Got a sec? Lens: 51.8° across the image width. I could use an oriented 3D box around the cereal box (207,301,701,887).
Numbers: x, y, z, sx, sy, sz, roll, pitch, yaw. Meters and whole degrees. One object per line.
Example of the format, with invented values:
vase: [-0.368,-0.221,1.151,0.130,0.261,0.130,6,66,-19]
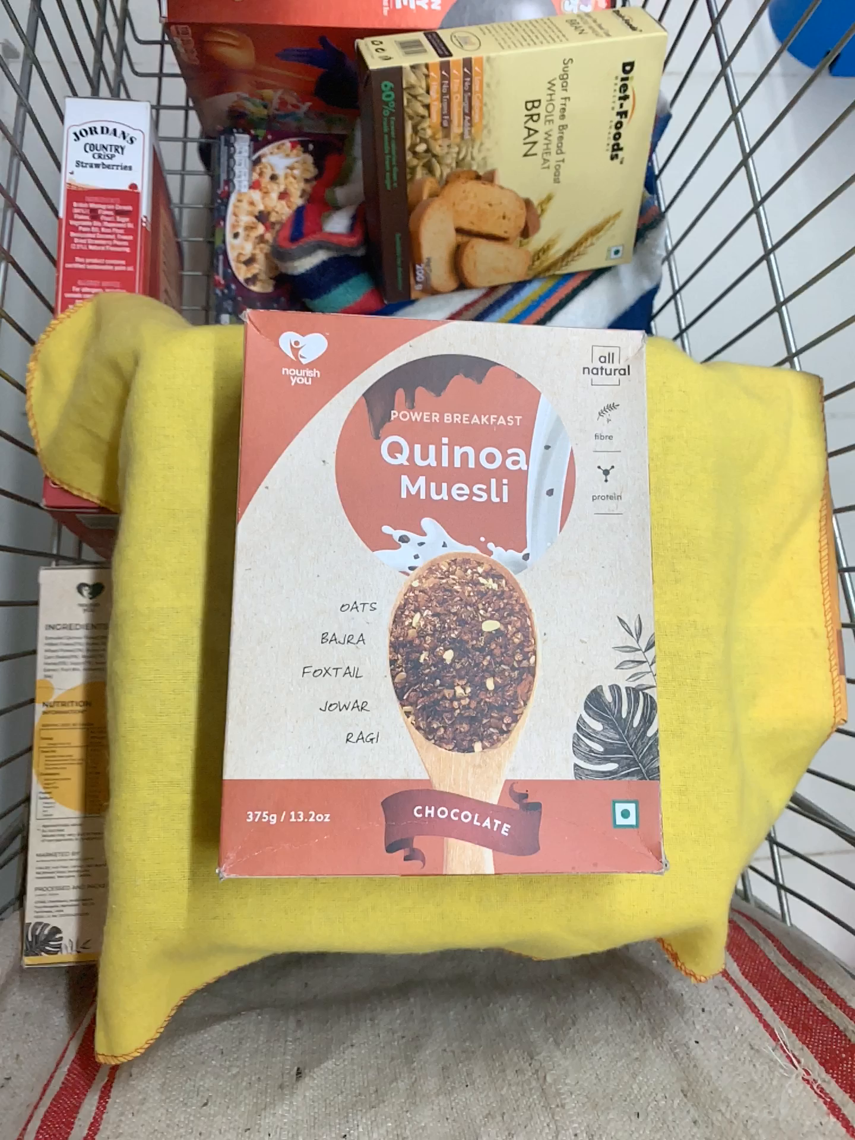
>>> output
cereal box: [0.009,0.009,0.348,0.170,0.060,0.210,1,80,-5]
